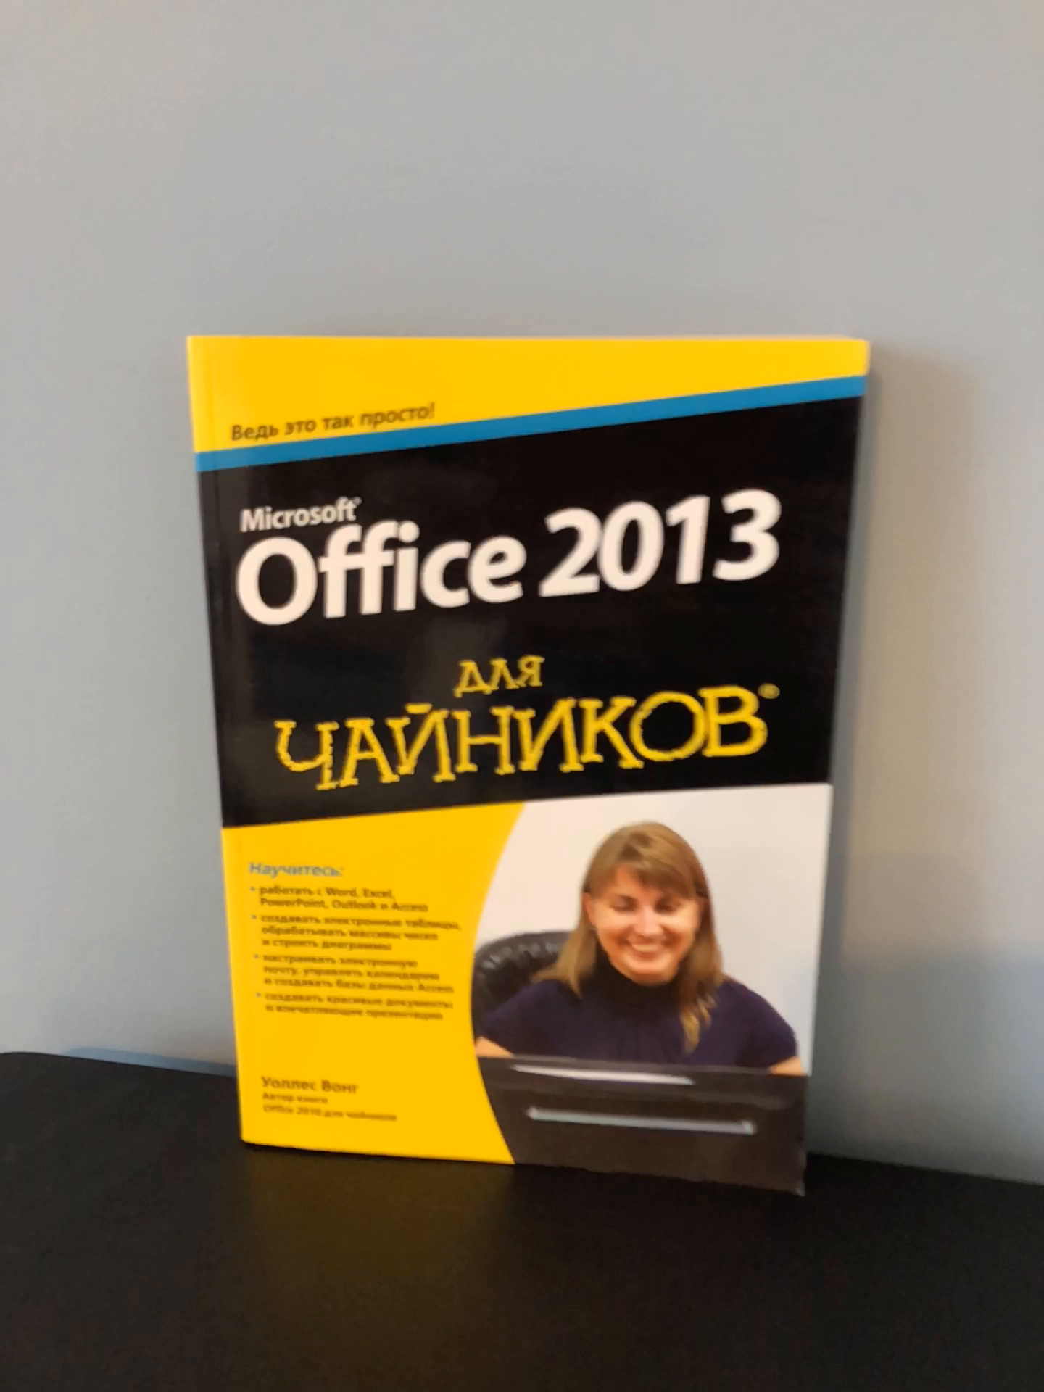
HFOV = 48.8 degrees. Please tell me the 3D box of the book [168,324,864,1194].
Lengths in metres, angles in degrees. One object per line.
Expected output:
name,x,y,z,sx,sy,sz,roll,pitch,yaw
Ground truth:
book,-0.002,0.021,0.316,0.164,0.233,0.031,2,16,7
